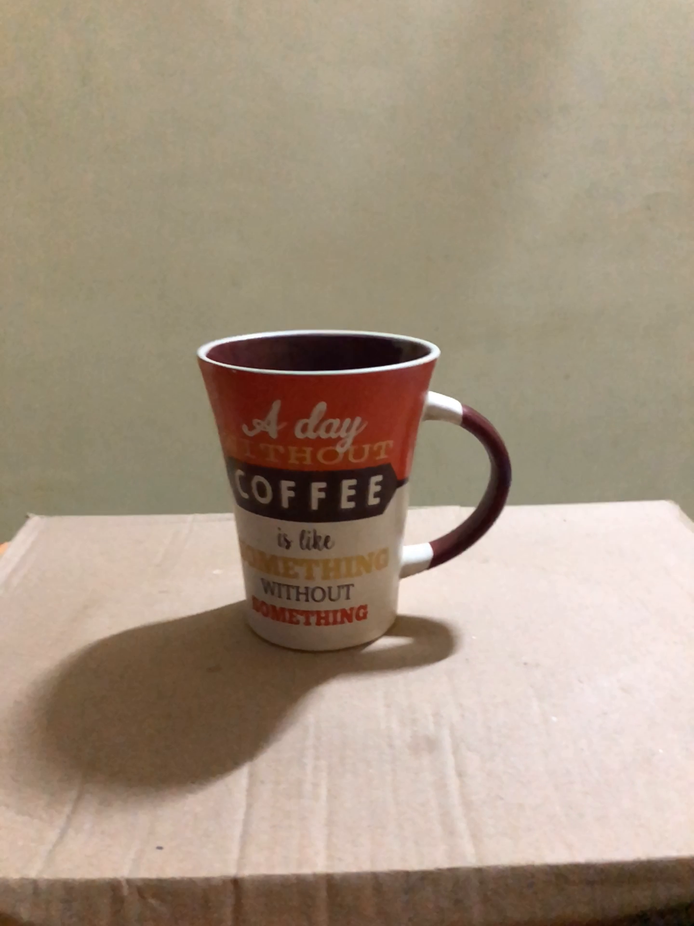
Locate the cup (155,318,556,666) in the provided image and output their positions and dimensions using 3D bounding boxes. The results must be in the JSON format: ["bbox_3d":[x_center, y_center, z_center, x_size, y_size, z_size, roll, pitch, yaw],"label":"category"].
[{"bbox_3d":[0.006,0.004,0.311,0.130,0.110,0.100,-2,15,2],"label":"cup"}]
